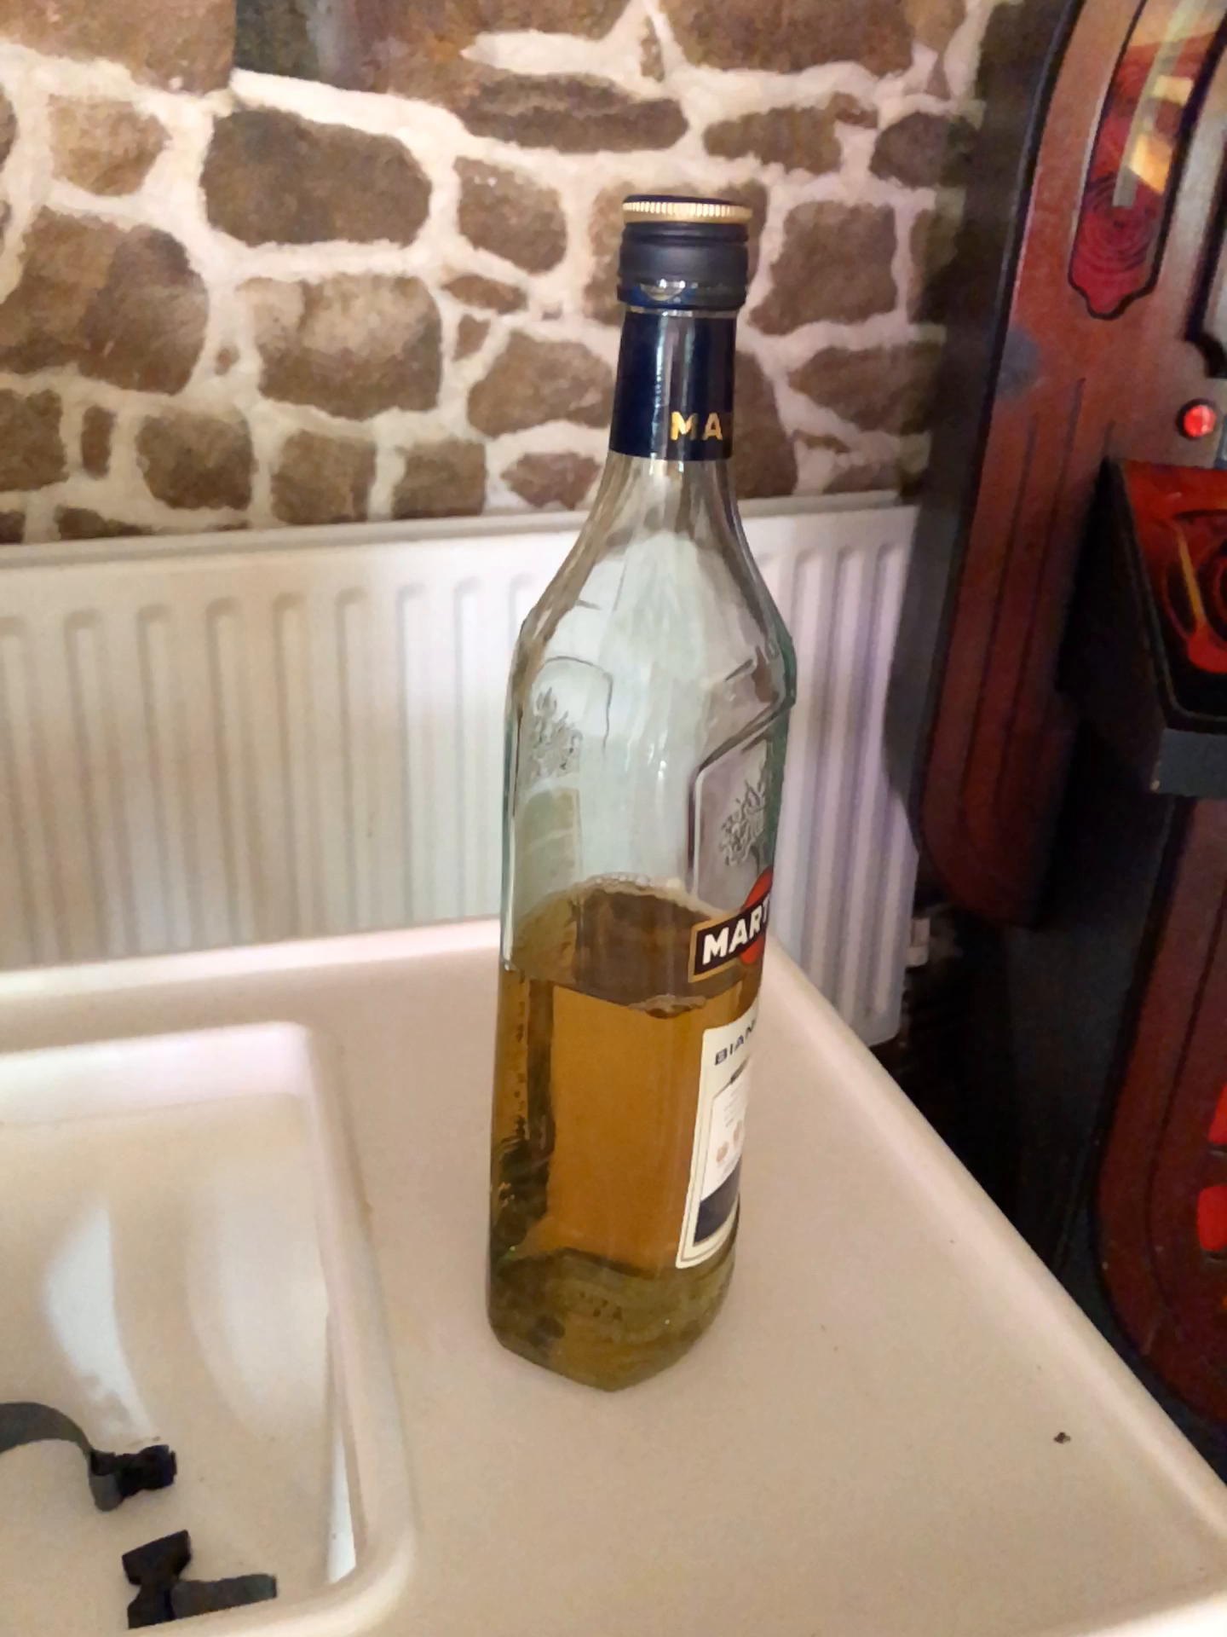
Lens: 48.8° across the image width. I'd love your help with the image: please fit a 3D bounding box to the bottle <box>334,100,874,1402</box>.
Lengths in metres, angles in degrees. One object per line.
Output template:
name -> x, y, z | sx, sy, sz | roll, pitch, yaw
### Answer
bottle -> -0.001, -0.012, 0.368 | 0.080, 0.318, 0.111 | 13, 27, 23
